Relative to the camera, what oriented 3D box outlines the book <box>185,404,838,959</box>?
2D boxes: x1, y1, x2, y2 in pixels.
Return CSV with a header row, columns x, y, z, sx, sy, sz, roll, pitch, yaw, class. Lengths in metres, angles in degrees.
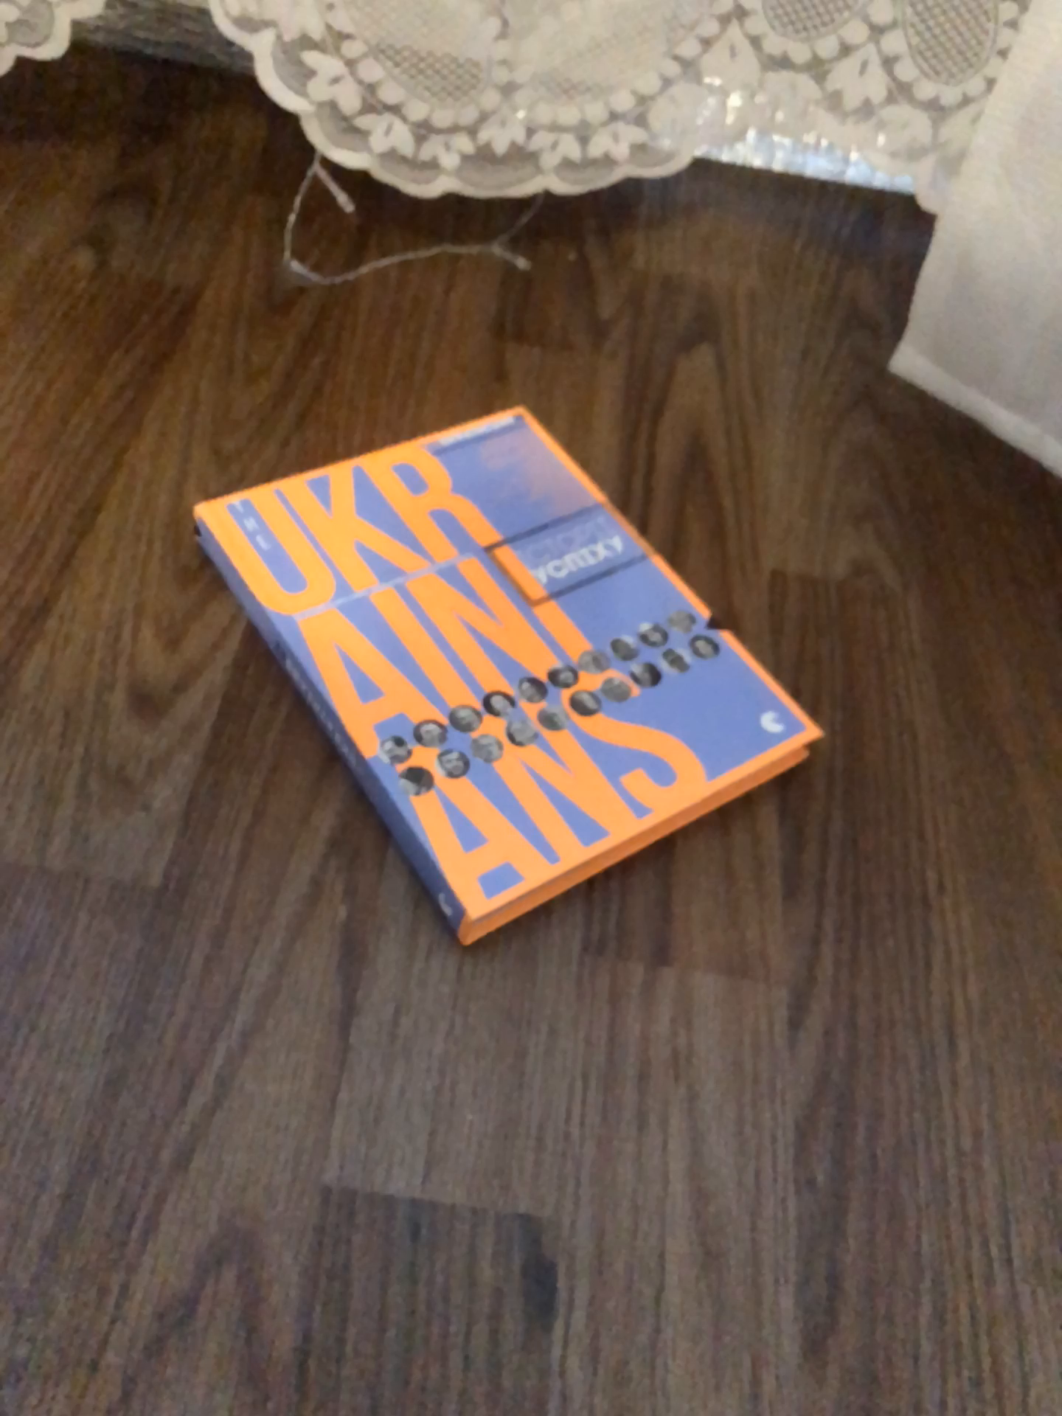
x,y,z,sx,sy,sz,roll,pitch,yaw,class
-0.012,-0.029,0.466,0.165,0.020,0.216,-24,60,-28,book
